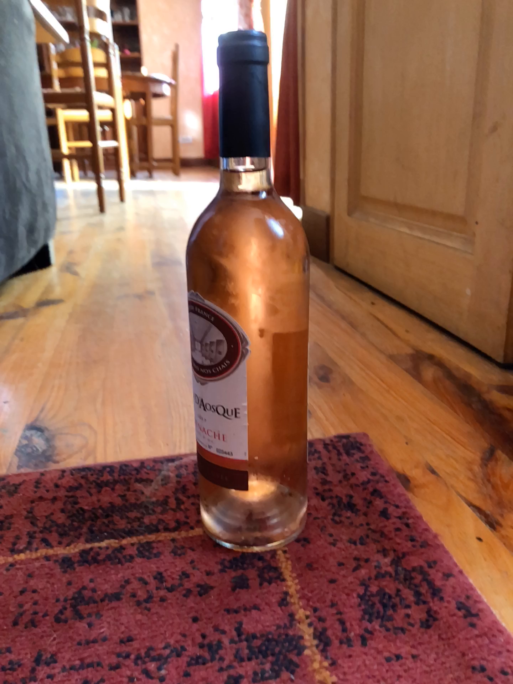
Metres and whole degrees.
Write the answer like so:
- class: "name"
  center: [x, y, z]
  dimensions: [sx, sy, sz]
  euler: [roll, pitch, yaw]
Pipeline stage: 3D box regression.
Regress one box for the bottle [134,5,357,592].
- class: "bottle"
  center: [-0.003, -0.017, 0.346]
  dimensions: [0.080, 0.309, 0.090]
  euler: [-15, 22, -33]
